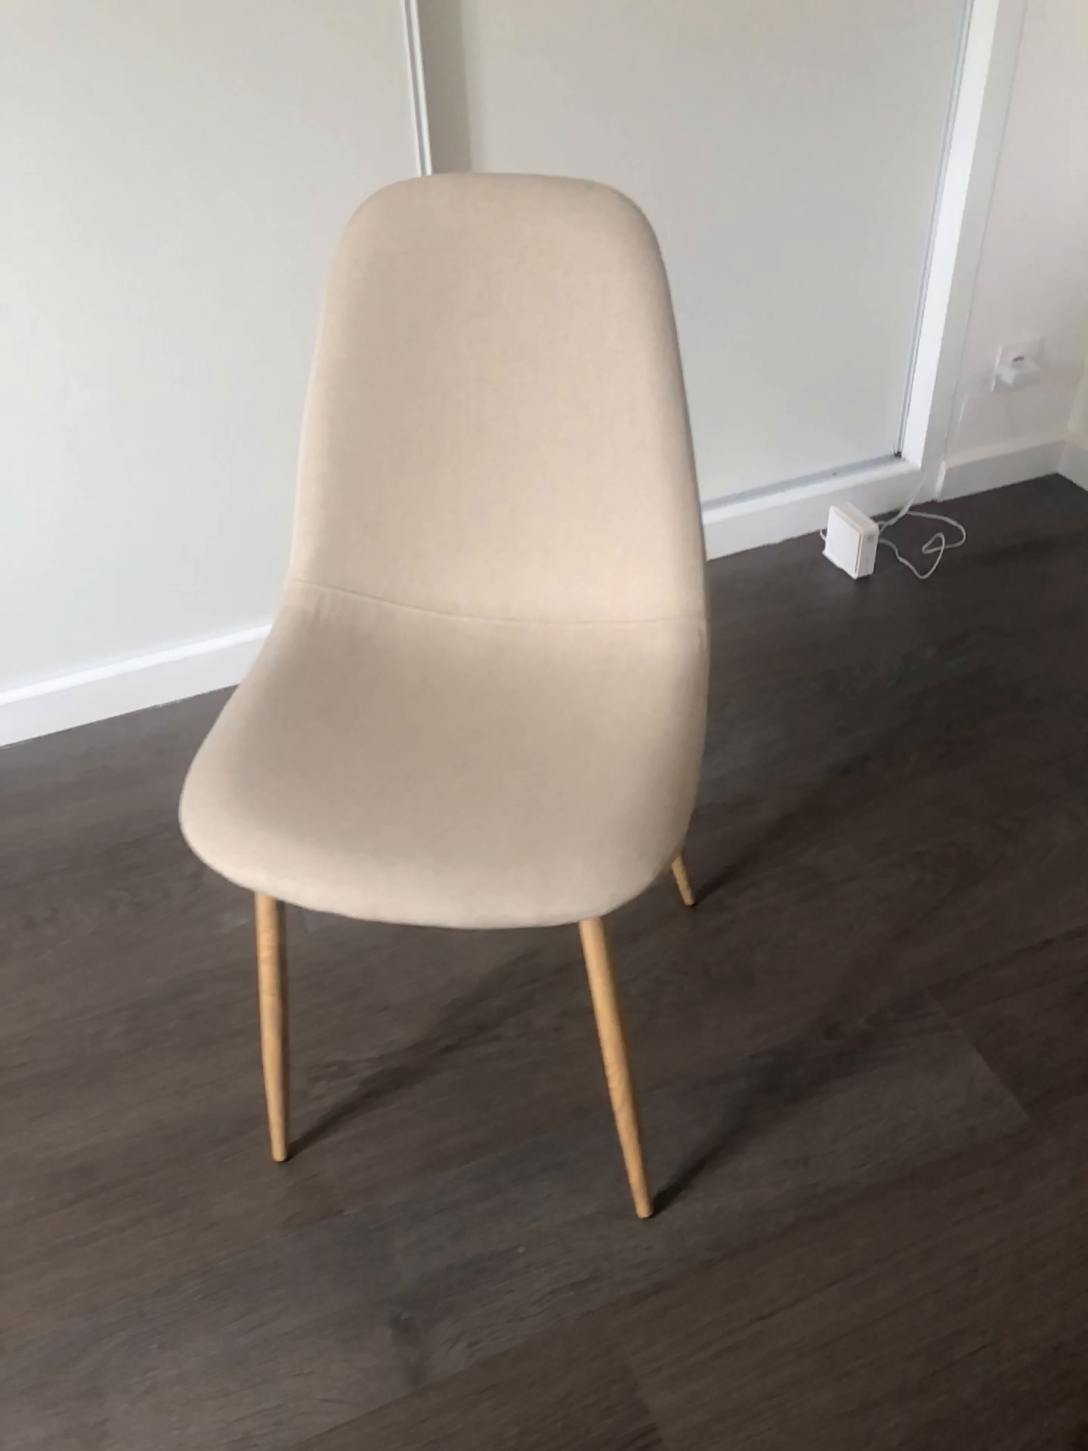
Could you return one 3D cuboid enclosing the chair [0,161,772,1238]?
[{"bbox_3d":[-0.056,-0.009,1.126,0.430,0.845,0.503,7,40,11],"label":"chair"}]
